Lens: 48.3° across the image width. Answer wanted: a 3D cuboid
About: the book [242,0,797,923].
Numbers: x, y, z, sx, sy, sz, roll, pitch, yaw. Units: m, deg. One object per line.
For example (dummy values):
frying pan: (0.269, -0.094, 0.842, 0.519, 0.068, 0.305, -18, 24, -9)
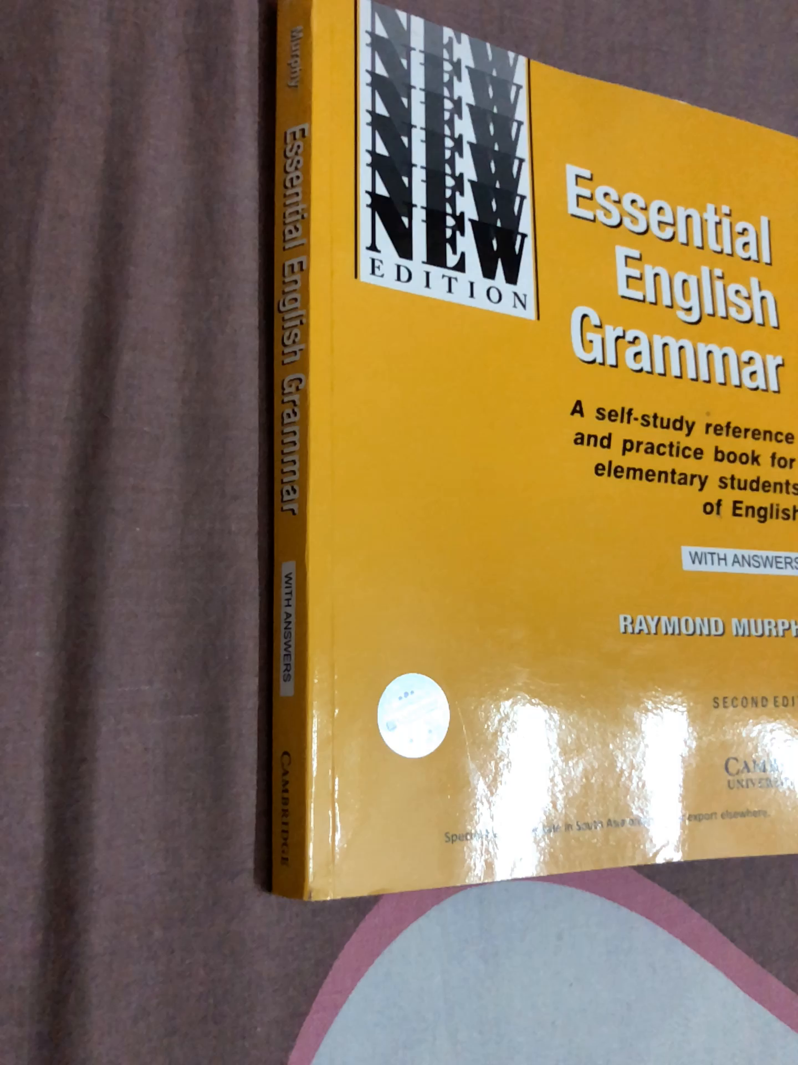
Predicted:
book: (0.055, -0.033, 0.263, 0.191, 0.040, 0.250, 5, 77, -26)
